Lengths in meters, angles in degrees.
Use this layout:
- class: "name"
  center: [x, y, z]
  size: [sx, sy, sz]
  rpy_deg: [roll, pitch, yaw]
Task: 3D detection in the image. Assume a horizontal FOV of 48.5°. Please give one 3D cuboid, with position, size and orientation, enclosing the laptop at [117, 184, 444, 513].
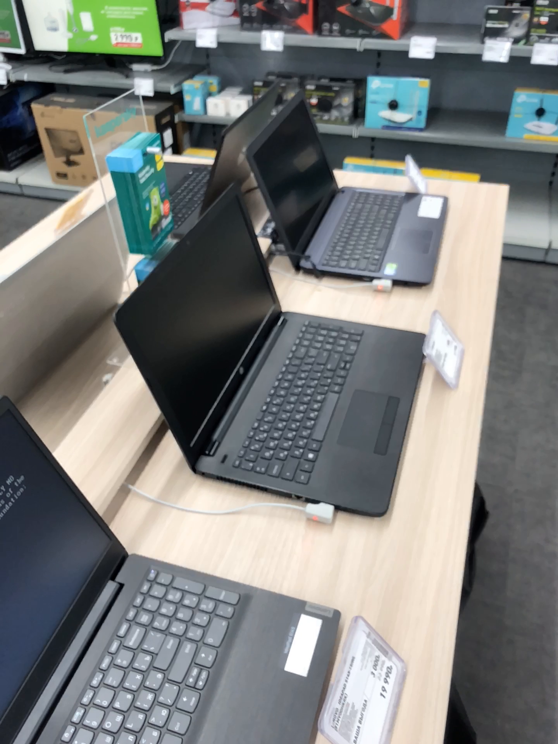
- class: "laptop"
  center: [0.031, -0.059, 0.828]
  size: [0.311, 0.216, 0.368]
  rpy_deg: [10, 40, 13]

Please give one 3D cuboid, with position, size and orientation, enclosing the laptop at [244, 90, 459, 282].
- class: "laptop"
  center: [0.157, -0.382, 1.220]
  size: [0.333, 0.209, 0.371]
  rpy_deg: [10, 40, 11]

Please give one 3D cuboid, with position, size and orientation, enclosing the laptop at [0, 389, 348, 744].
- class: "laptop"
  center: [-0.142, 0.233, 0.471]
  size: [0.327, 0.213, 0.333]
  rpy_deg: [10, 40, 13]
